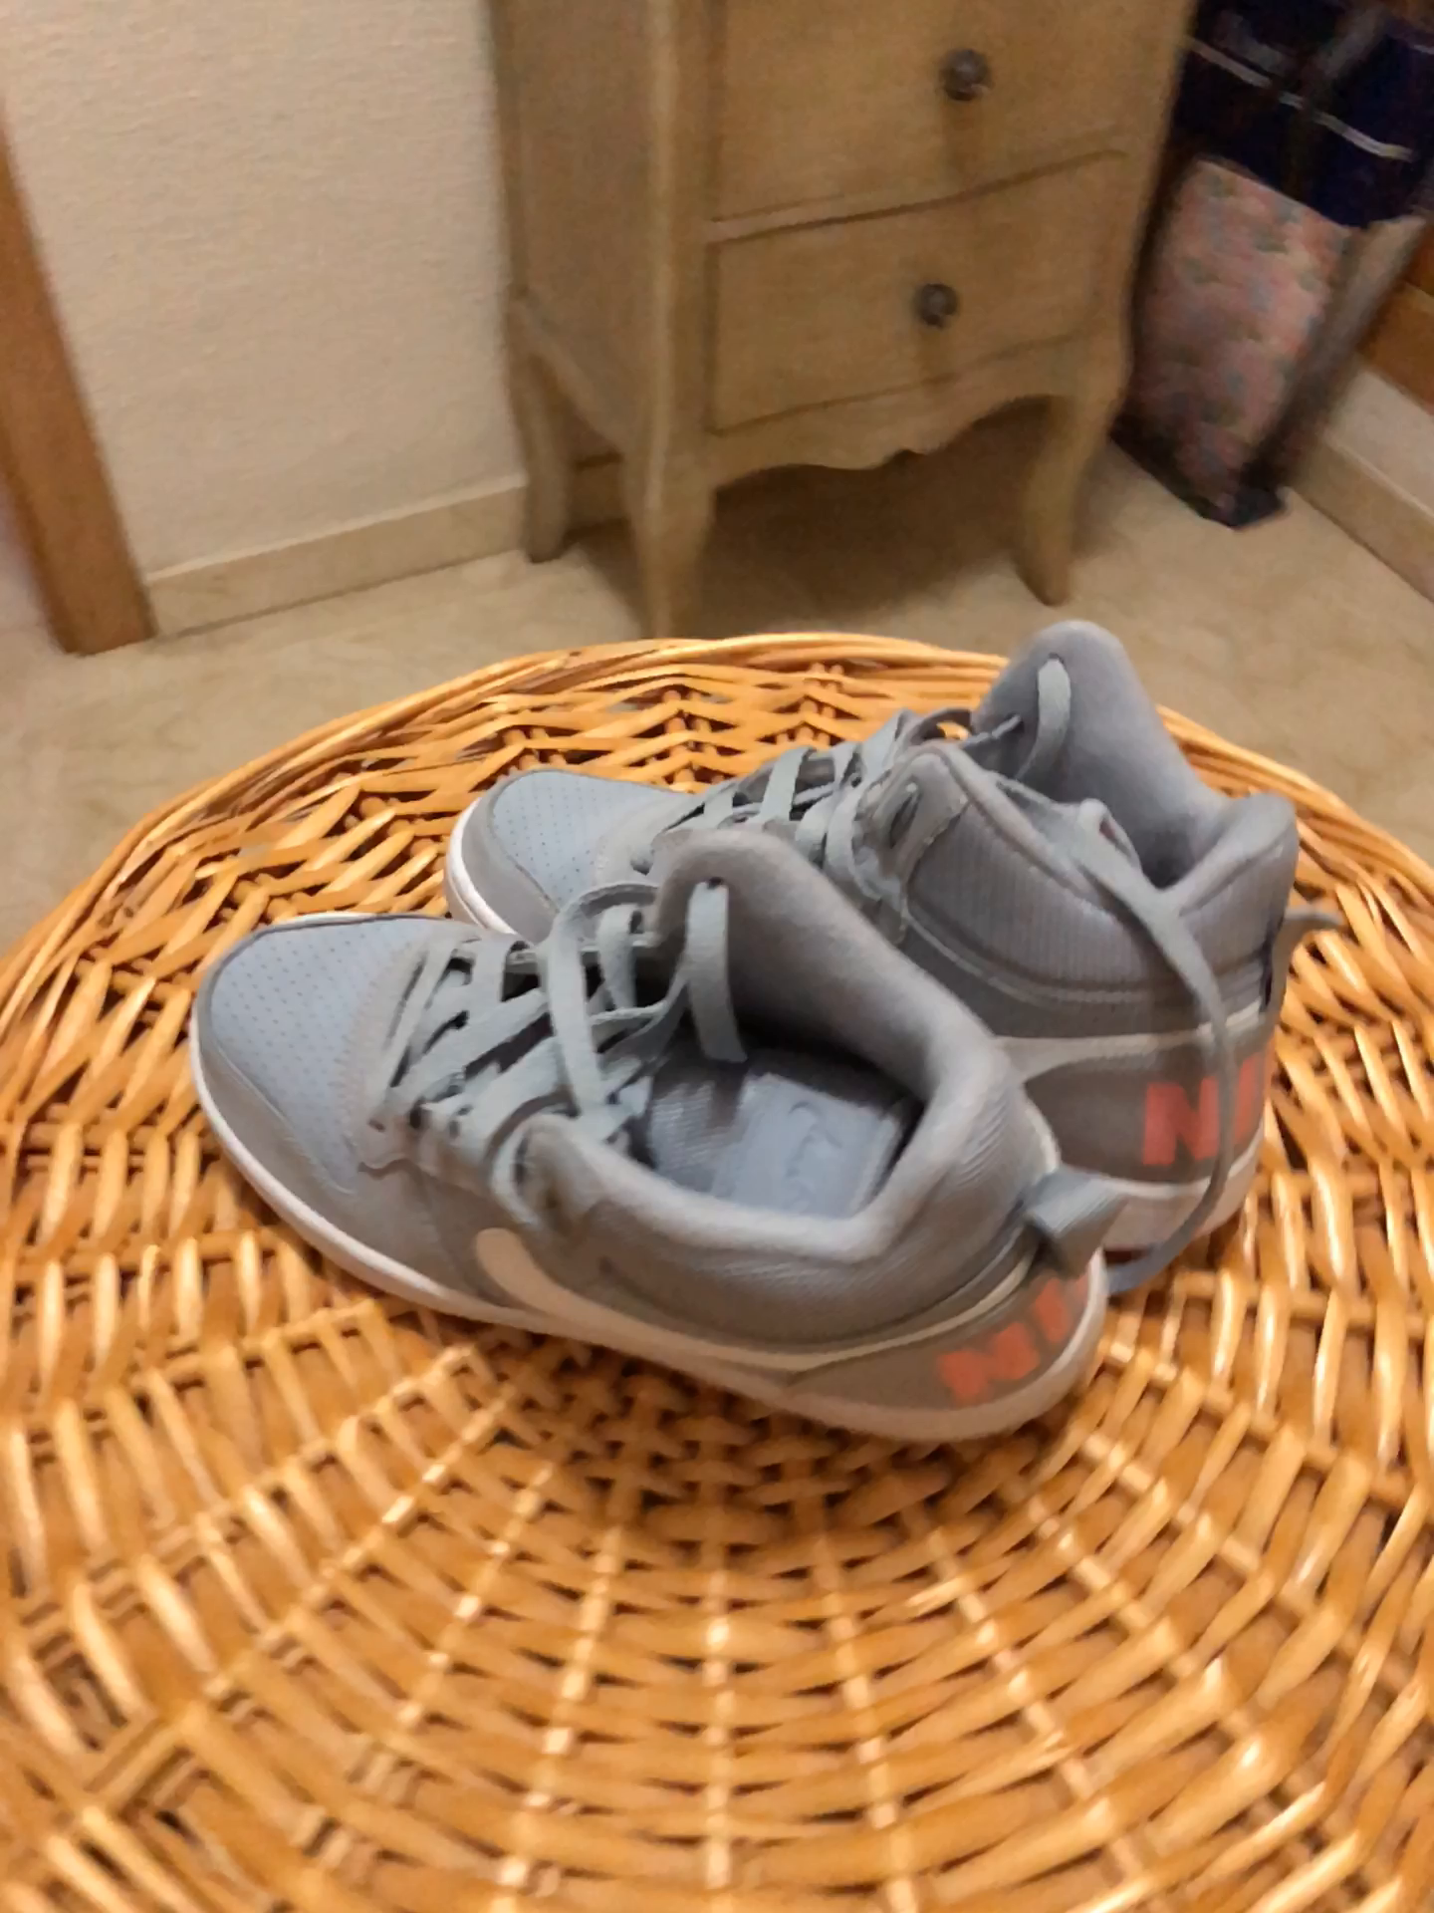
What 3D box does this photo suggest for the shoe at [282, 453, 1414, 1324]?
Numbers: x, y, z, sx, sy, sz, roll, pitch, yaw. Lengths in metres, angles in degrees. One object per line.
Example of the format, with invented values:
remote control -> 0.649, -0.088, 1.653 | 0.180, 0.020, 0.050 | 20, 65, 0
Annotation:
shoe -> 0.028, -0.028, 0.425 | 0.251, 0.120, 0.105 | 22, 53, 23

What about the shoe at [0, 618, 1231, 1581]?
shoe -> -0.028, 0.032, 0.375 | 0.248, 0.117, 0.099 | 22, 63, 16
